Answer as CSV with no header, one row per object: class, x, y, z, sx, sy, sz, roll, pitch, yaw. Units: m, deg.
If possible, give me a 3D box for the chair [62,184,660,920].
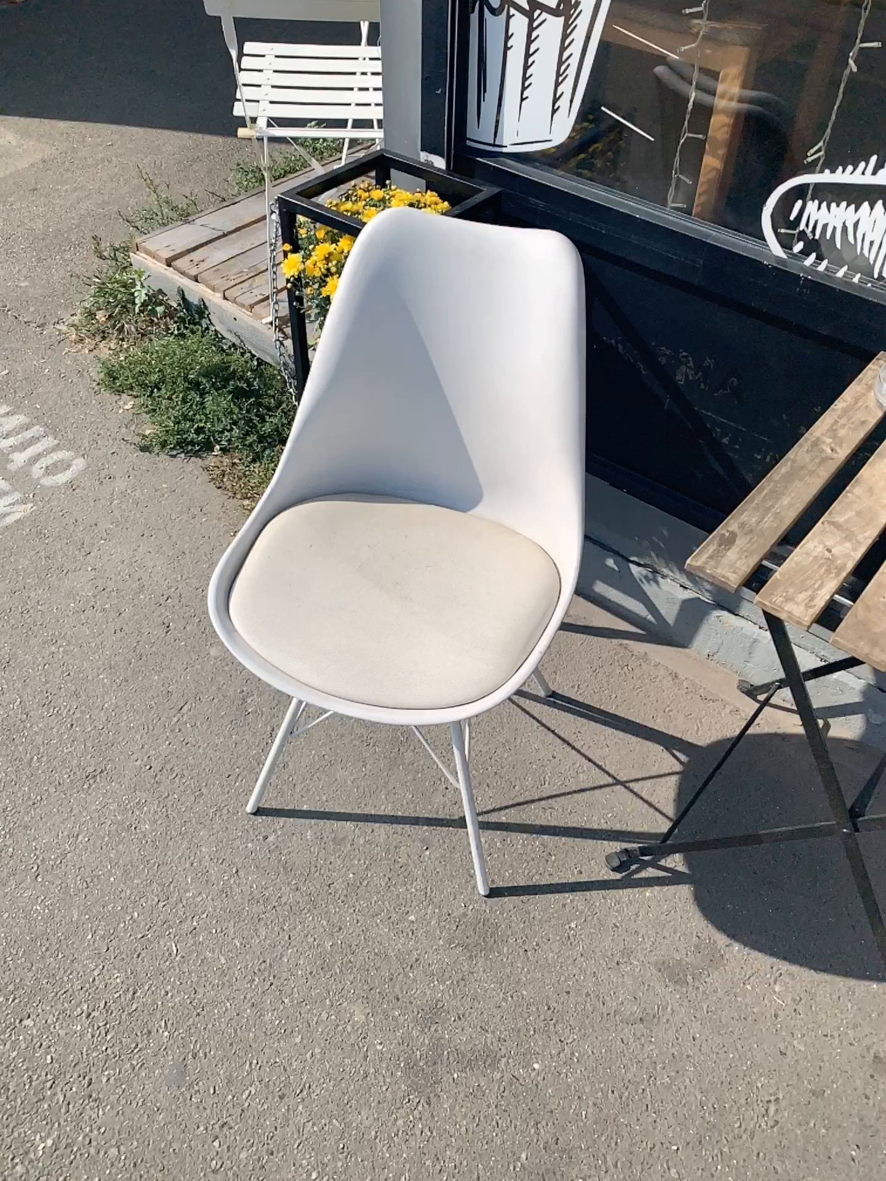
chair,-0.050,-0.026,1.237,0.480,0.777,0.532,13,48,10
